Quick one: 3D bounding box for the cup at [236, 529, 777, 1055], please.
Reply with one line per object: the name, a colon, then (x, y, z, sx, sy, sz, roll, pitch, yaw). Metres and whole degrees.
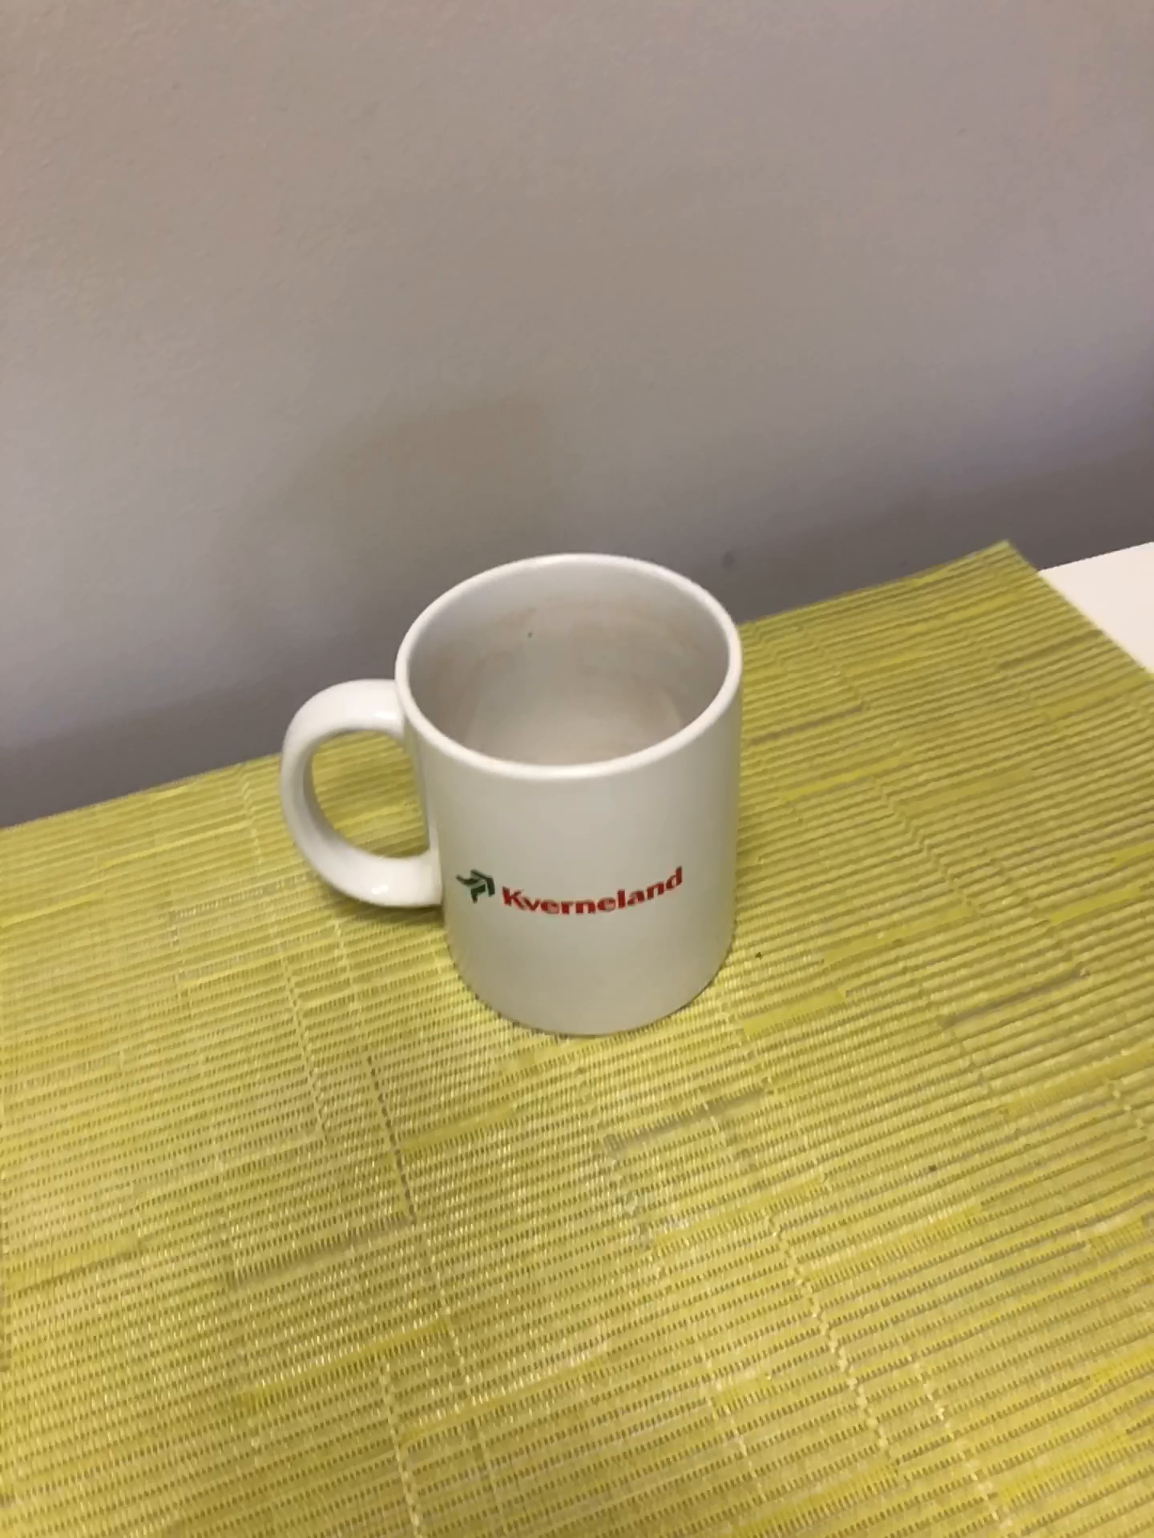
cup: (-0.012, 0.007, 0.335, 0.114, 0.100, 0.090, -2, 42, 3)
